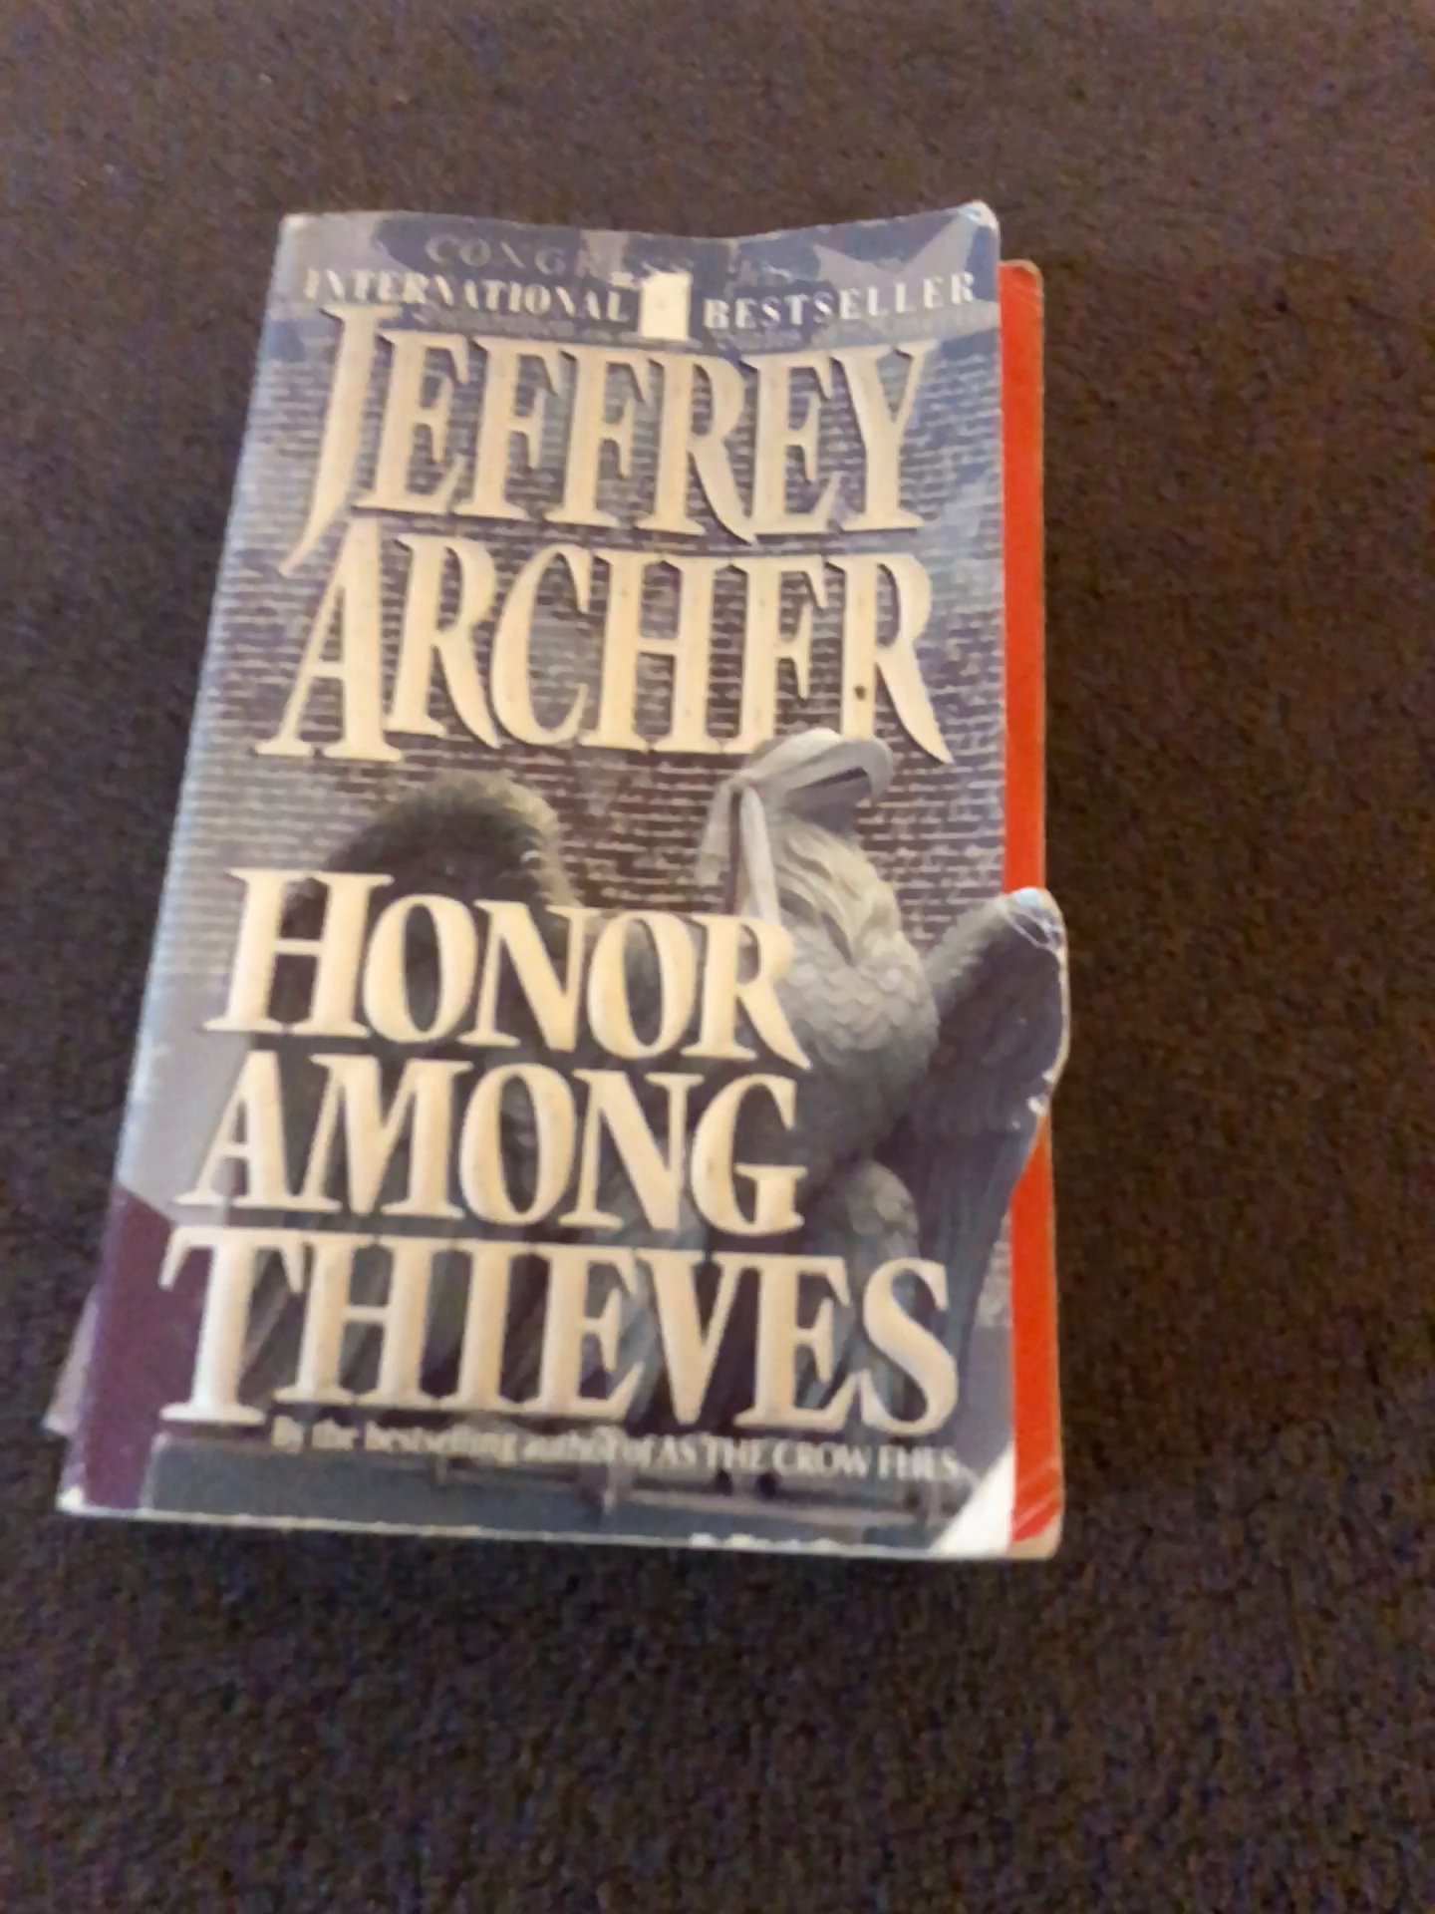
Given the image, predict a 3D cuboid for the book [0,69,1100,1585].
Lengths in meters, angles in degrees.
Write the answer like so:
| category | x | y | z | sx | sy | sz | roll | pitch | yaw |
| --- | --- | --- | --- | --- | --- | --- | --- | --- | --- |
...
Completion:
| category | x | y | z | sx | sy | sz | roll | pitch | yaw |
| --- | --- | --- | --- | --- | --- | --- | --- | --- | --- |
| book | -0.016 | -0.023 | 0.212 | 0.120 | 0.040 | 0.190 | 5 | 70 | -3 |
